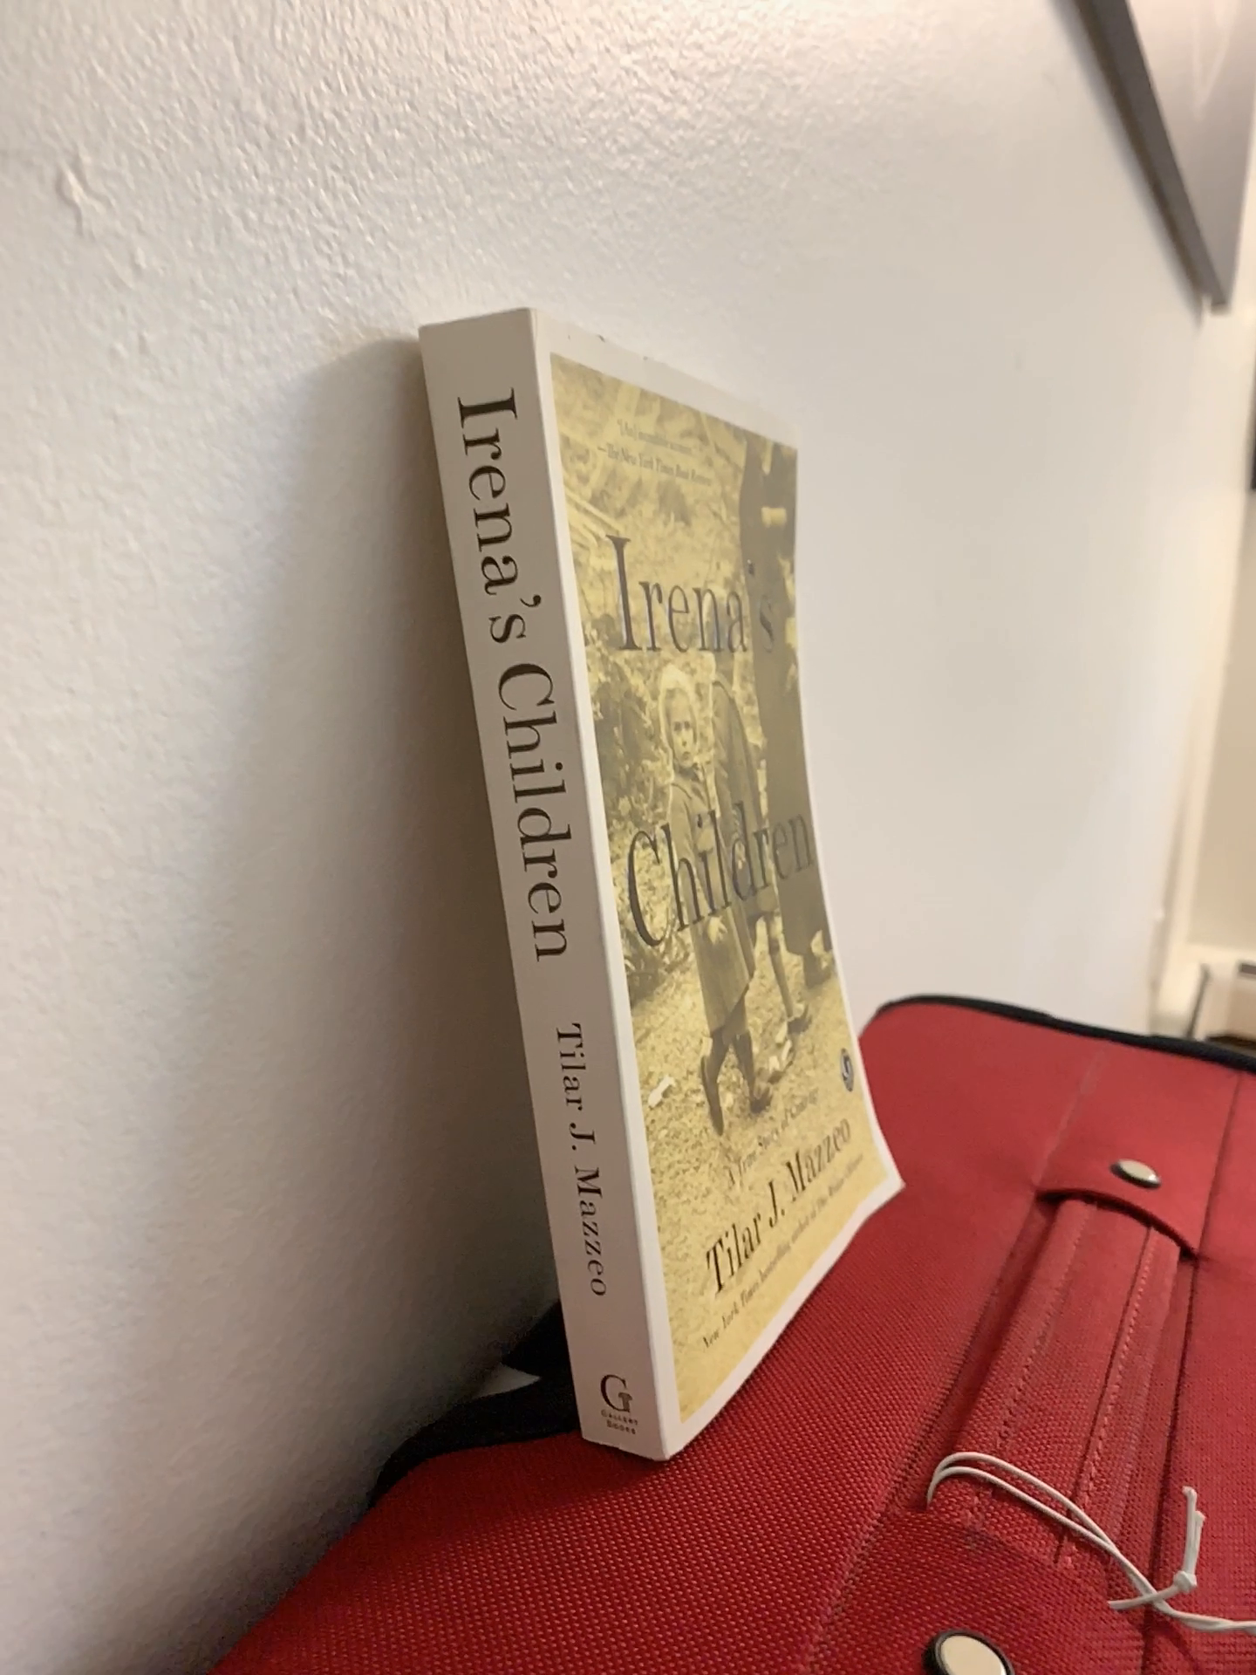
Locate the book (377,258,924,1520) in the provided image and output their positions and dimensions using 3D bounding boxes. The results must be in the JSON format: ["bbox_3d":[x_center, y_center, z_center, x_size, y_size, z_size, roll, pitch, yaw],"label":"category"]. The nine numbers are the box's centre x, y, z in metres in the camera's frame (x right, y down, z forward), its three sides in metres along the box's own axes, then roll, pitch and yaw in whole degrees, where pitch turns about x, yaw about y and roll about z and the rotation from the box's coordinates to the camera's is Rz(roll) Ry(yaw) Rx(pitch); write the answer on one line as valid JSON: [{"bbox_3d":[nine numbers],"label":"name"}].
[{"bbox_3d":[0.022,0.002,0.315,0.030,0.230,0.171,-3,7,30],"label":"book"}]
